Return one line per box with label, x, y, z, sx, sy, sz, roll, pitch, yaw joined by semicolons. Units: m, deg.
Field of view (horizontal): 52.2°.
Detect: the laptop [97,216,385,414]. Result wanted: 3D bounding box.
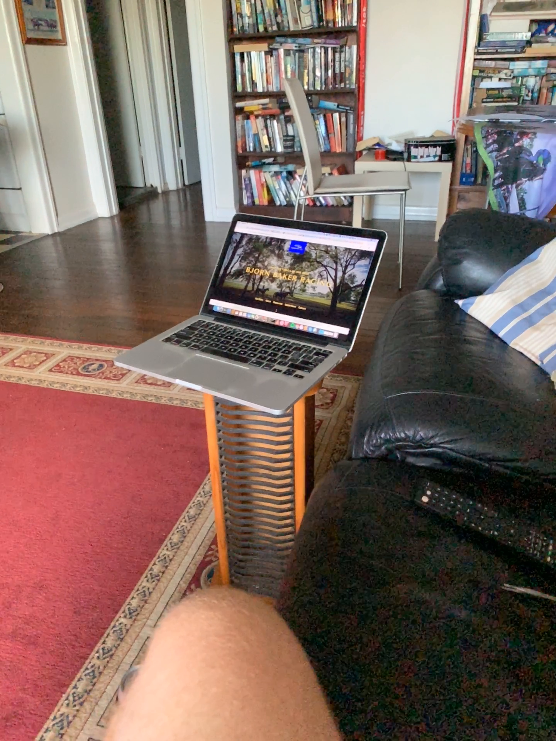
laptop;-0.041;-0.119;0.916;0.313;0.160;0.341;15;31;29
